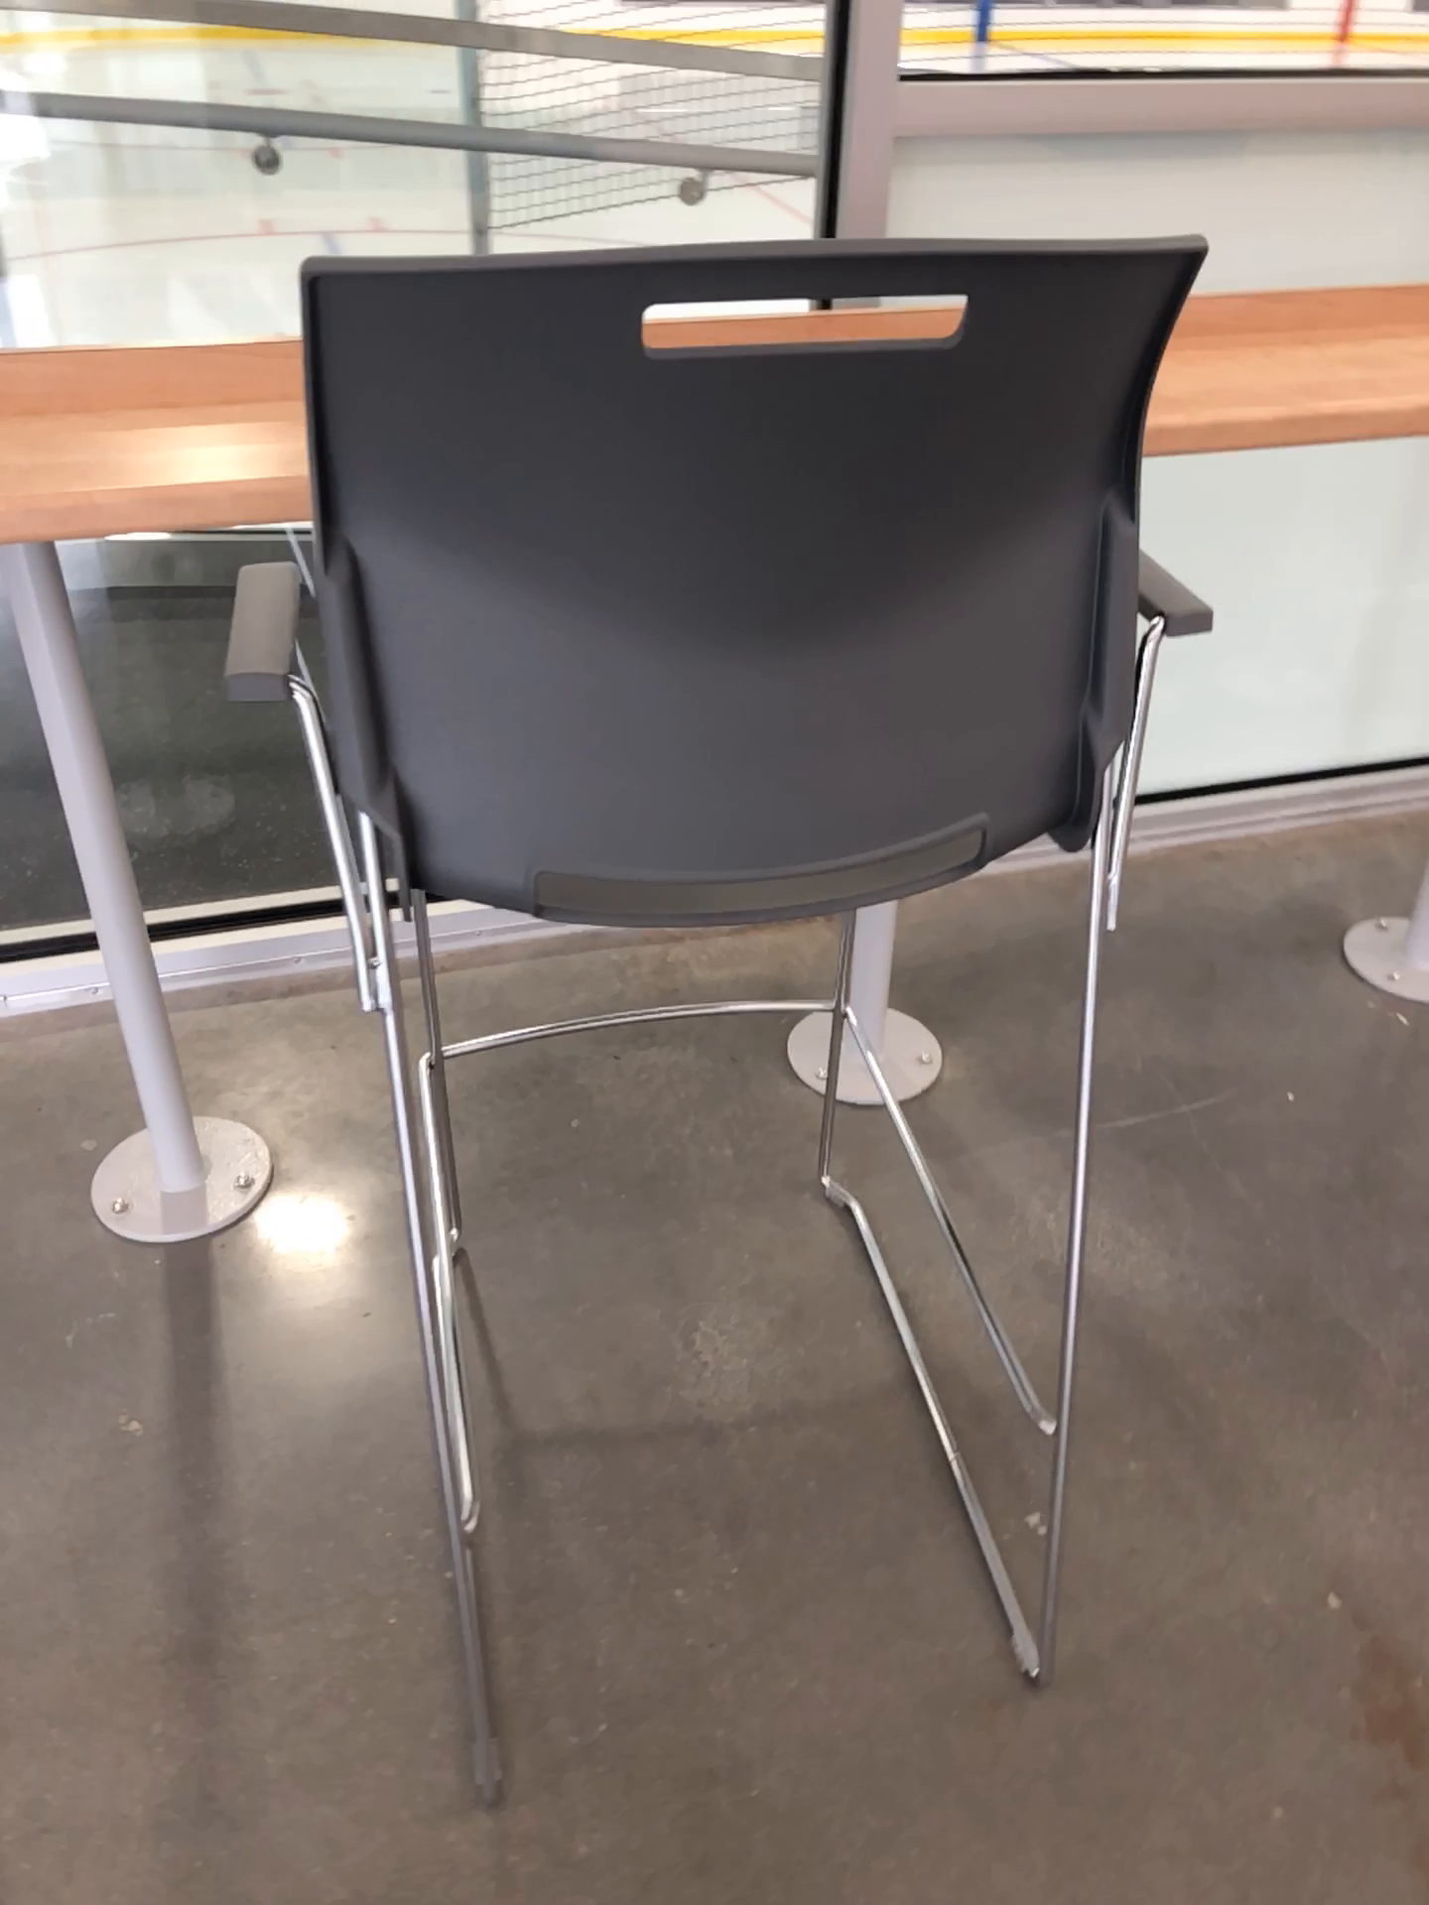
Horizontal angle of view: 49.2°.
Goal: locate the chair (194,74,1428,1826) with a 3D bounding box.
[{"bbox_3d":[0.009,-0.014,1.183,0.600,1.073,0.664,-7,36,-13],"label":"chair"}]
